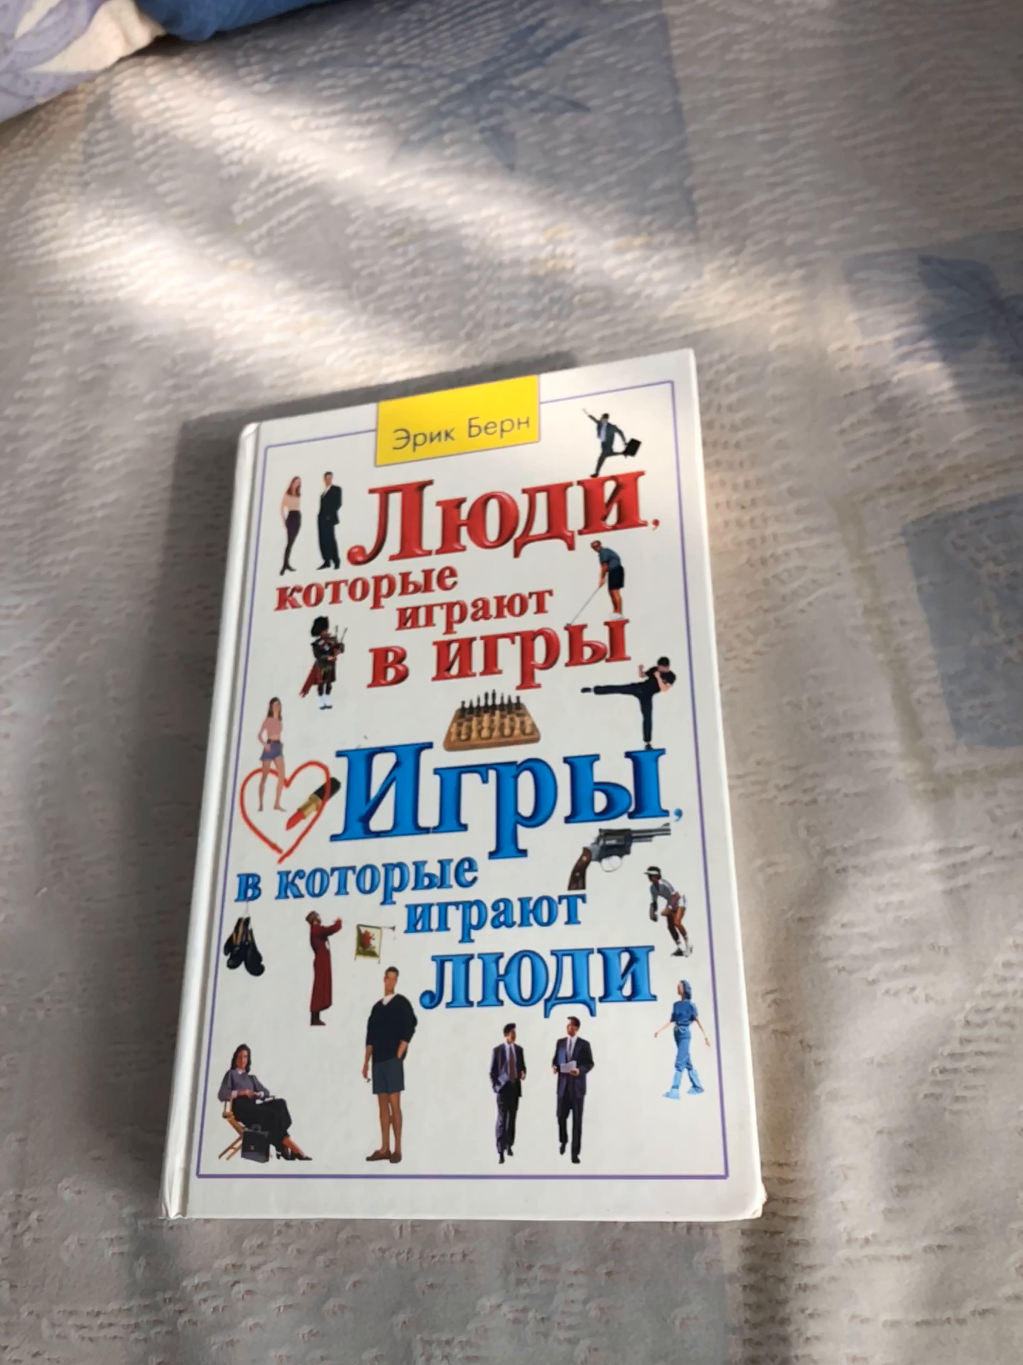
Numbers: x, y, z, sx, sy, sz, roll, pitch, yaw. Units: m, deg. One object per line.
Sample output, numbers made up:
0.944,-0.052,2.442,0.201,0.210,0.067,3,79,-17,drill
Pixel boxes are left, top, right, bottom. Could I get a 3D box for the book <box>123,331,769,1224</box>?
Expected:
-0.015,0.017,0.284,0.135,0.030,0.211,-5,67,12,book
